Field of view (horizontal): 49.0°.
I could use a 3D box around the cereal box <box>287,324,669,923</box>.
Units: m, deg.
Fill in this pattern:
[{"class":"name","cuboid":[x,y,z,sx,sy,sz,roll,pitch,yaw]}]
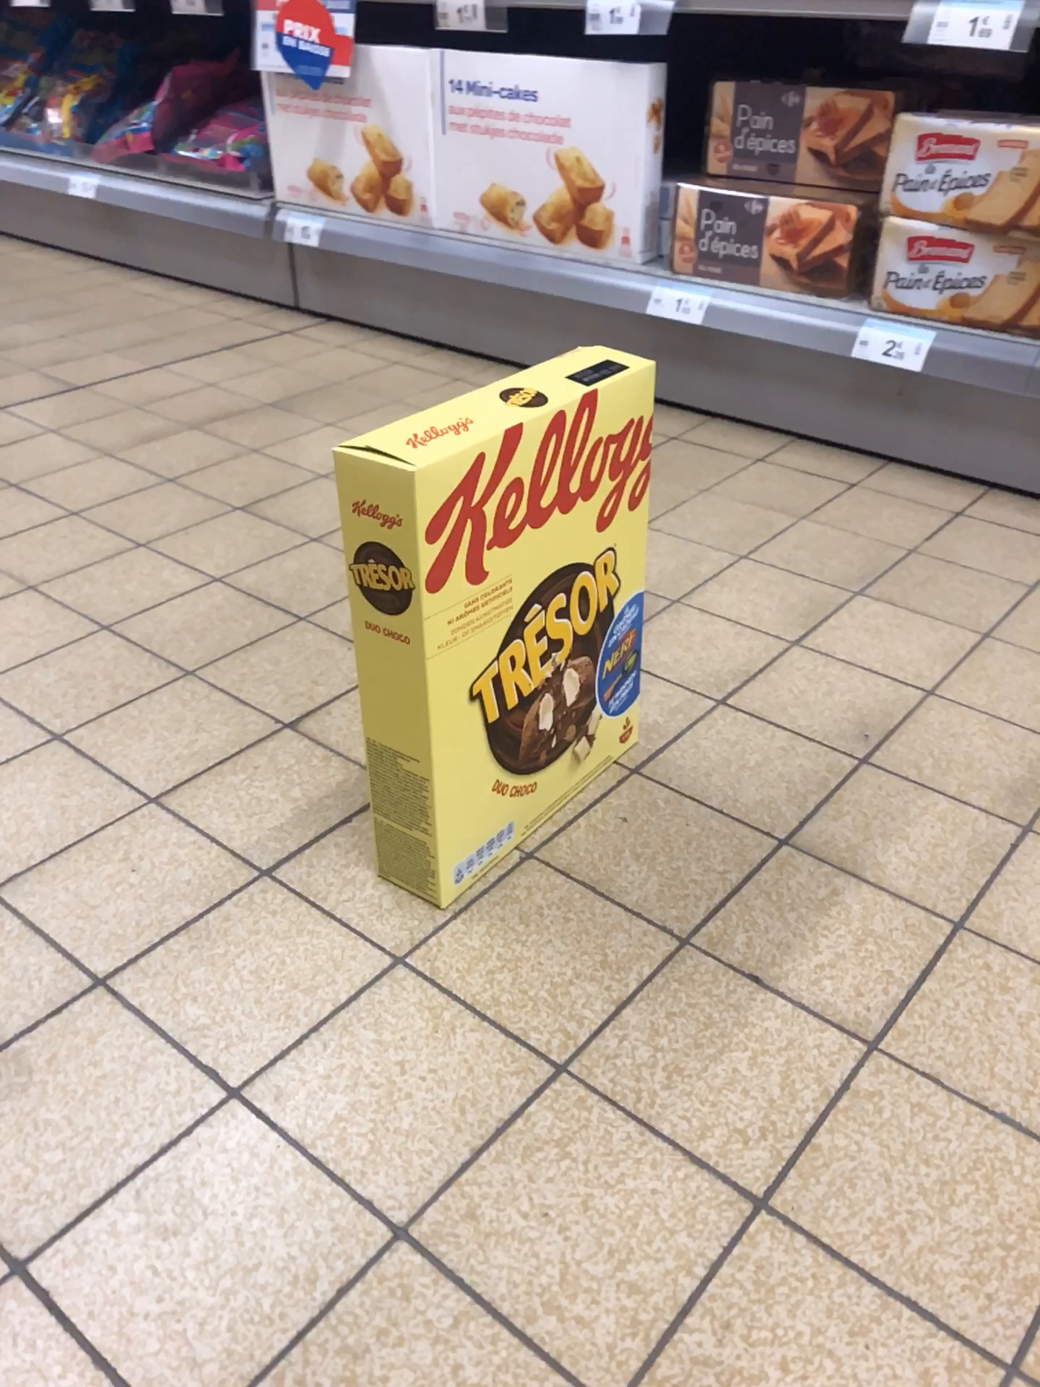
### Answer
[{"class":"cereal box","cuboid":[-0.011,-0.041,0.580,0.060,0.239,0.201,22,38,31]}]
